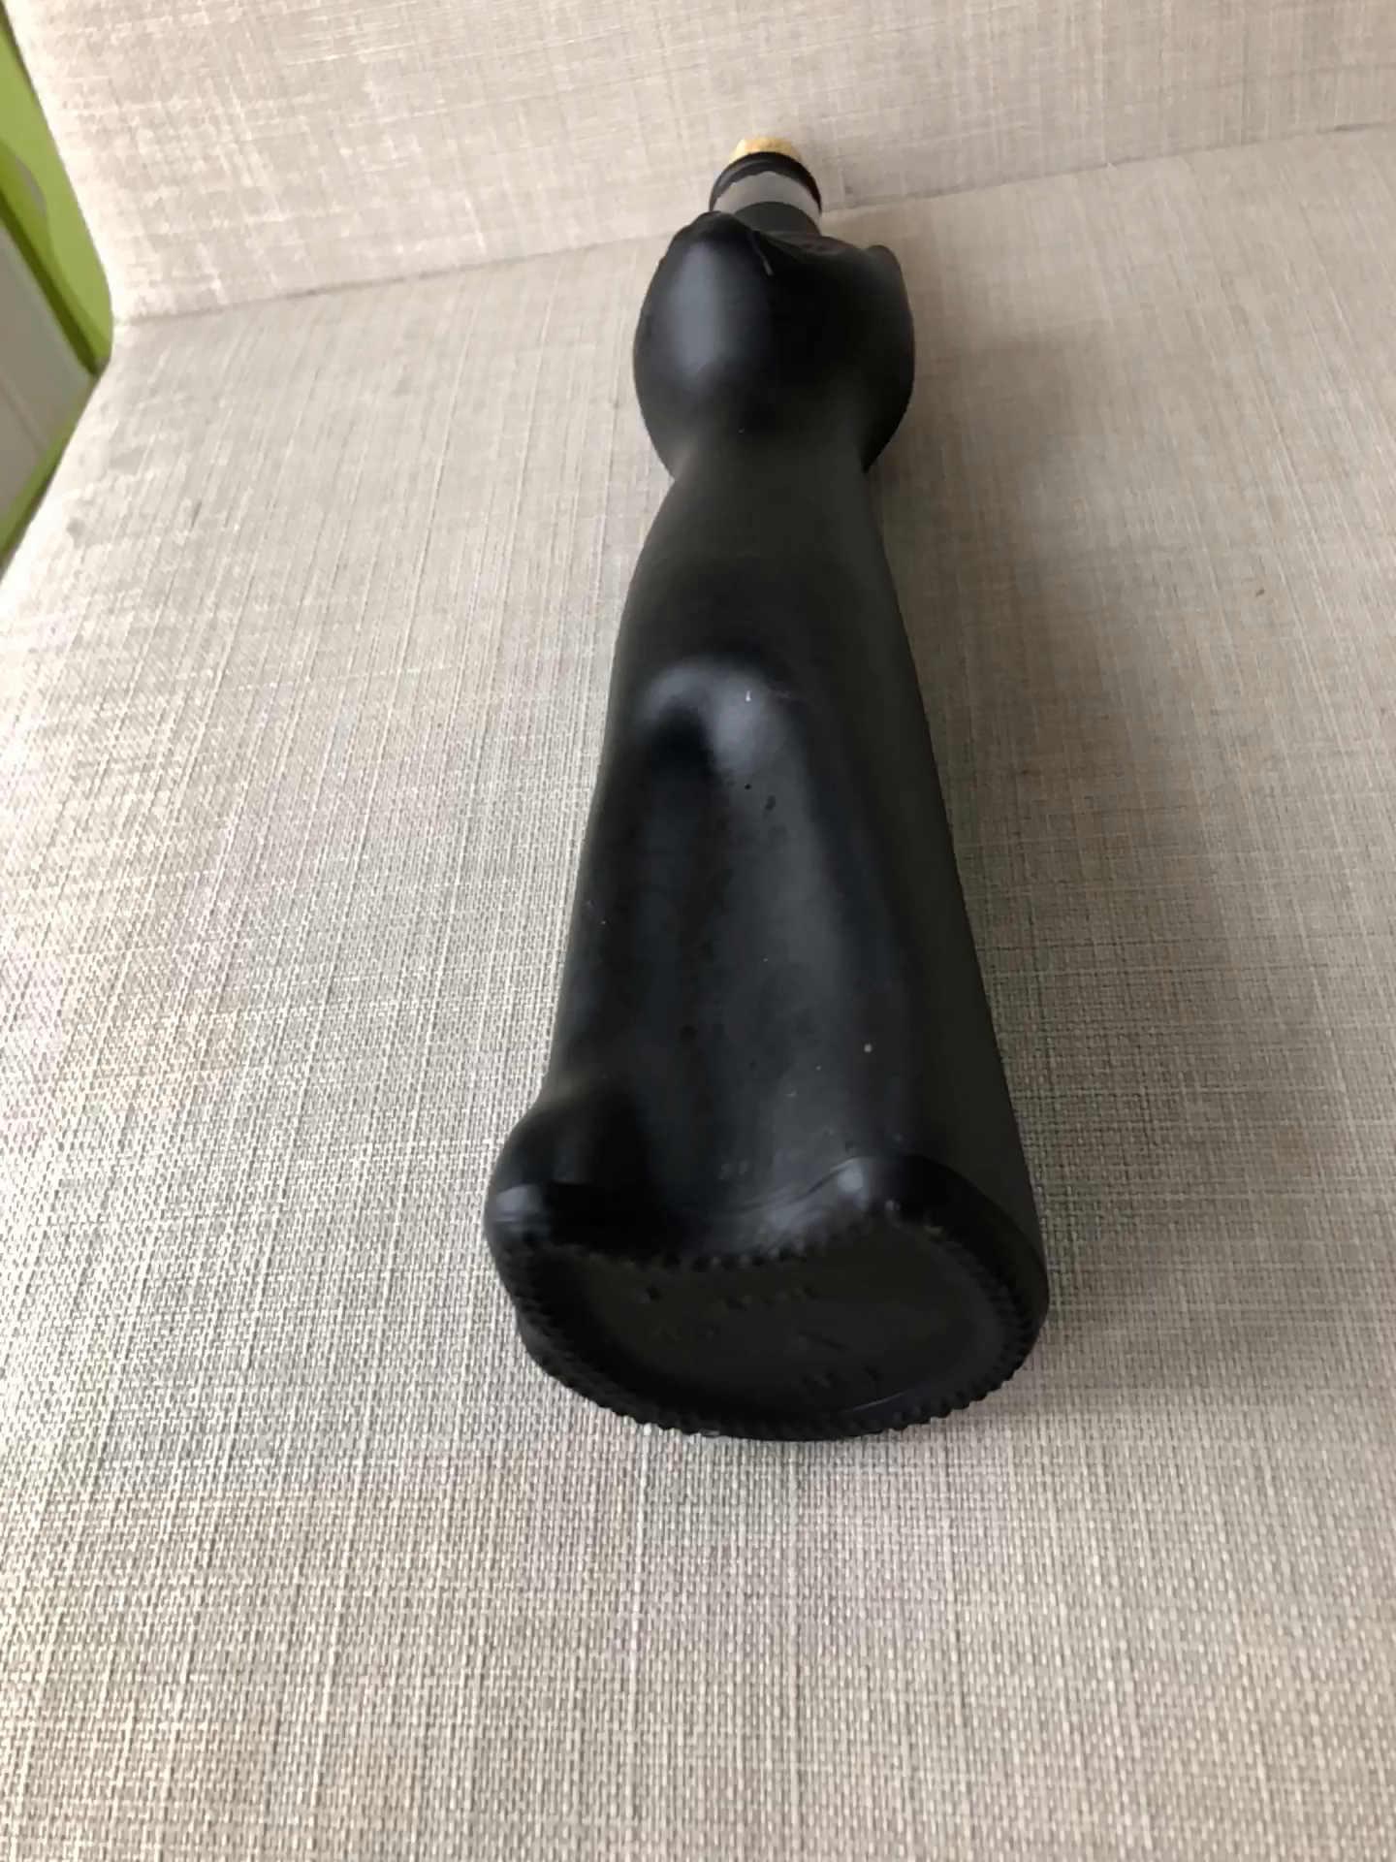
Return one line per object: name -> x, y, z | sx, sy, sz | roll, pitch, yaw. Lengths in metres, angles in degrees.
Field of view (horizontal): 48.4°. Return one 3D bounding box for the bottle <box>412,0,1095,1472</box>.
bottle -> 0.013, -0.067, 0.300 | 0.077, 0.079, 0.313 | -5, 52, 8
